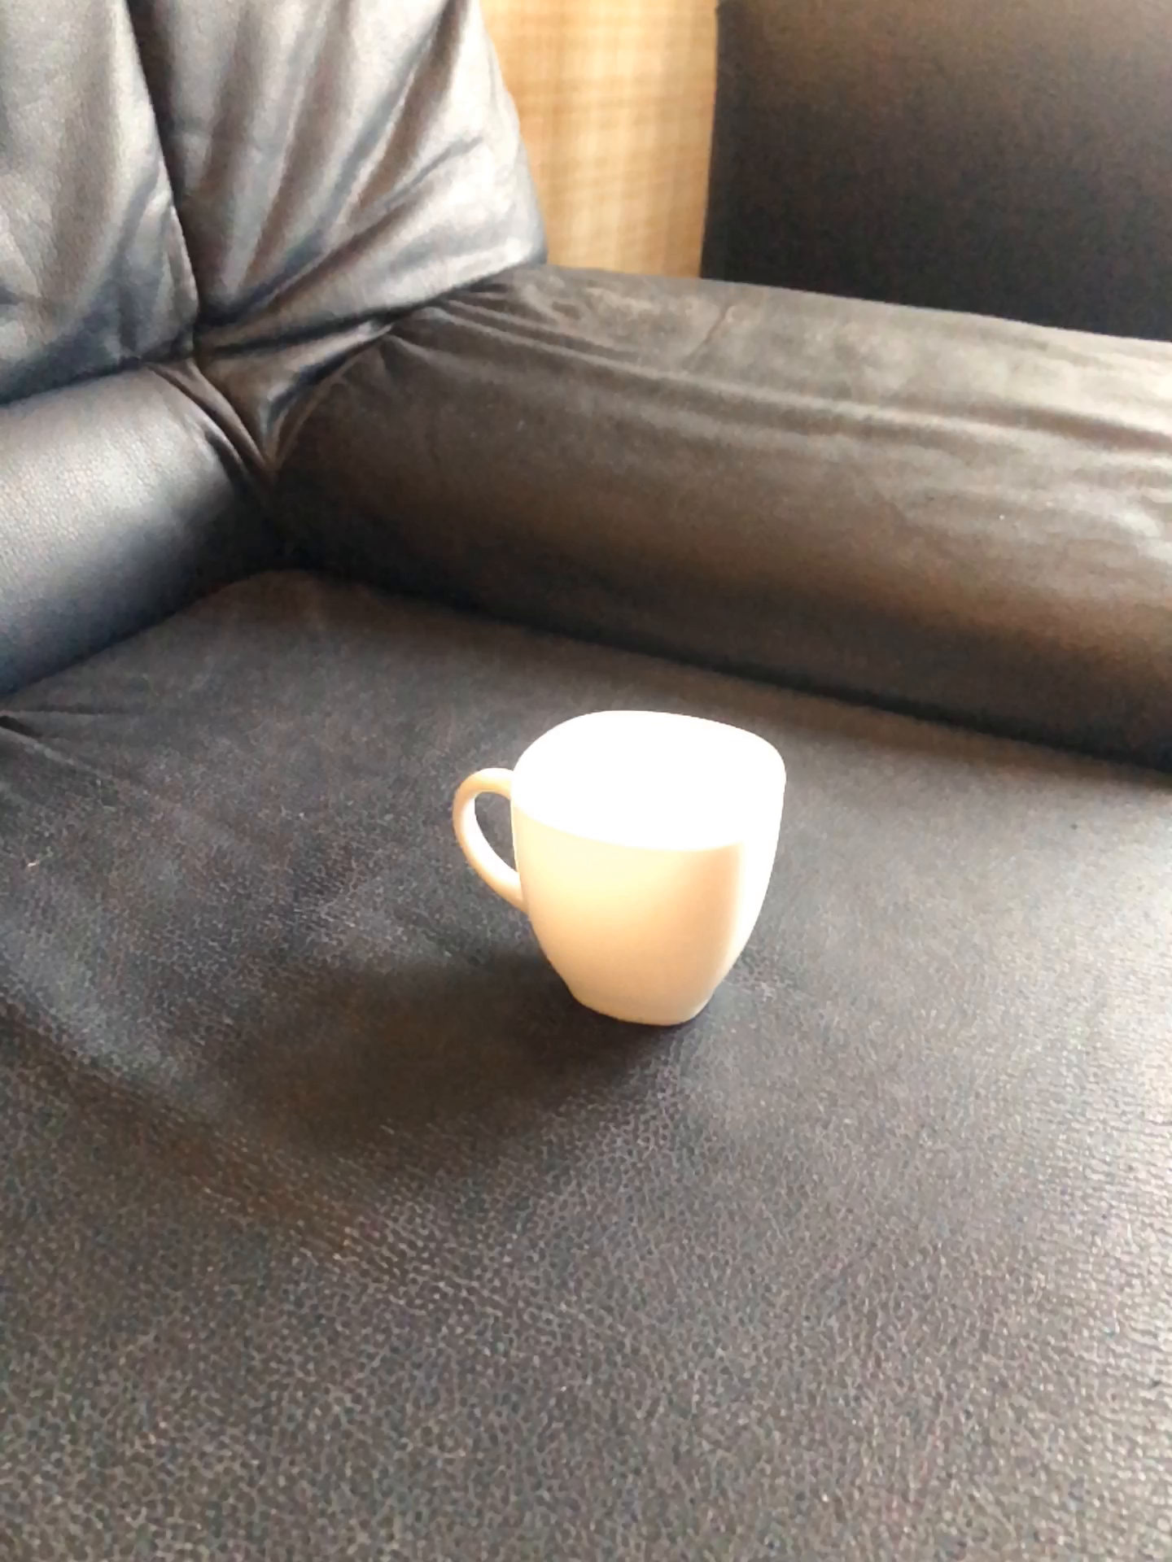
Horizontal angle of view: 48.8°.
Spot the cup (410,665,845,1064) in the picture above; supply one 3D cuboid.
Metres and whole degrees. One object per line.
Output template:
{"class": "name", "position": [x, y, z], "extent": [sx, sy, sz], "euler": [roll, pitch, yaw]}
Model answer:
{"class": "cup", "position": [0.013, 0.020, 0.386], "extent": [0.101, 0.063, 0.080], "euler": [15, 33, 21]}
